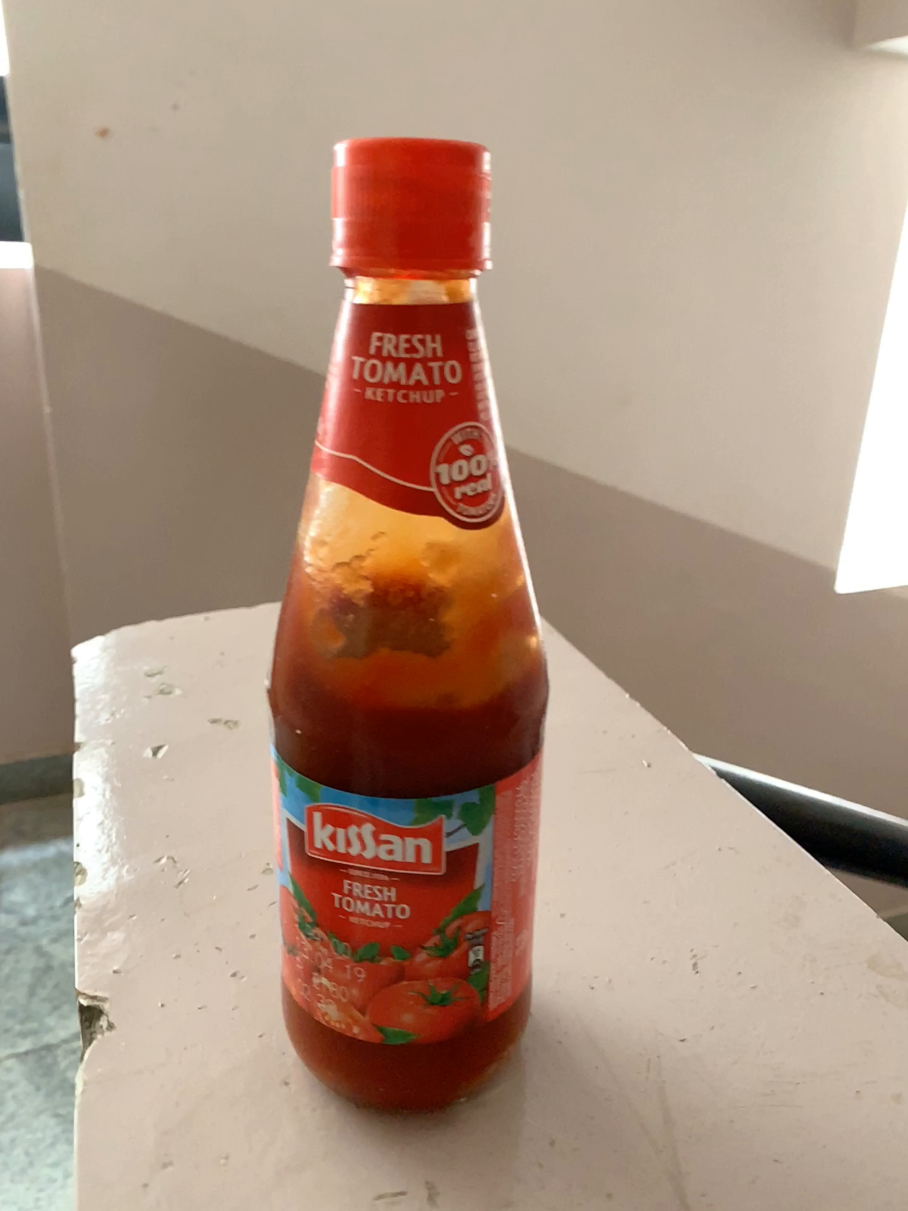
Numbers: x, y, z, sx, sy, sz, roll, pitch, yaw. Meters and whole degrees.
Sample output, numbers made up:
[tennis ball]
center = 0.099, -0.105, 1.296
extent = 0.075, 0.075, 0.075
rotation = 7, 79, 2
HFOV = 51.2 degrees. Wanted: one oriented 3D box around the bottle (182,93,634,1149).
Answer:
[bottle]
center = -0.008, 0.008, 0.223
extent = 0.070, 0.219, 0.070
rotation = 2, 20, -1
